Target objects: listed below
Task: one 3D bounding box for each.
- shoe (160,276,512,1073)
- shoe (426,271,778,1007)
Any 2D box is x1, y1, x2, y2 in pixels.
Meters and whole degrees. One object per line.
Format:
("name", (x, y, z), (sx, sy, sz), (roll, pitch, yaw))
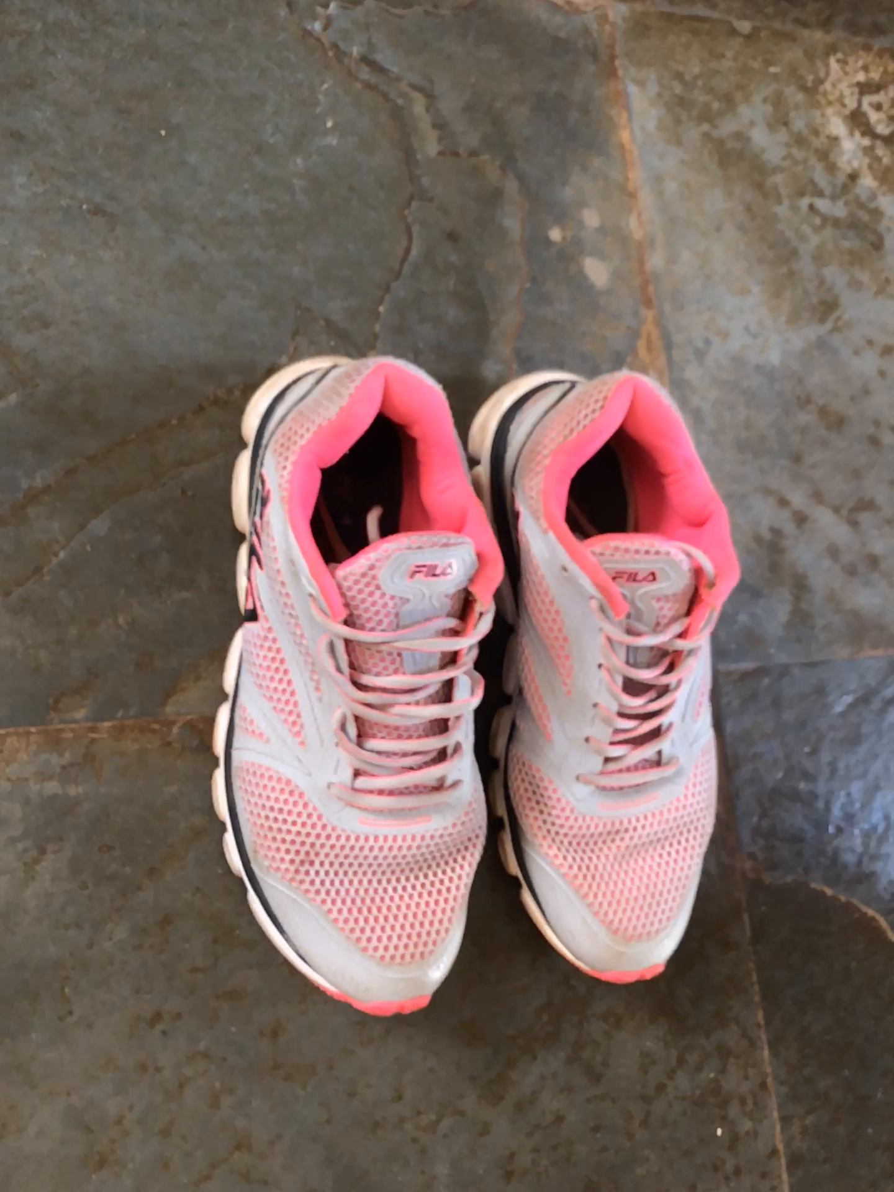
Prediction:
("shoe", (-0.055, 0.025, 0.413), (0.110, 0.100, 0.280), (-2, 82, -17))
("shoe", (0.061, 0.017, 0.453), (0.110, 0.100, 0.290), (1, 81, -17))
